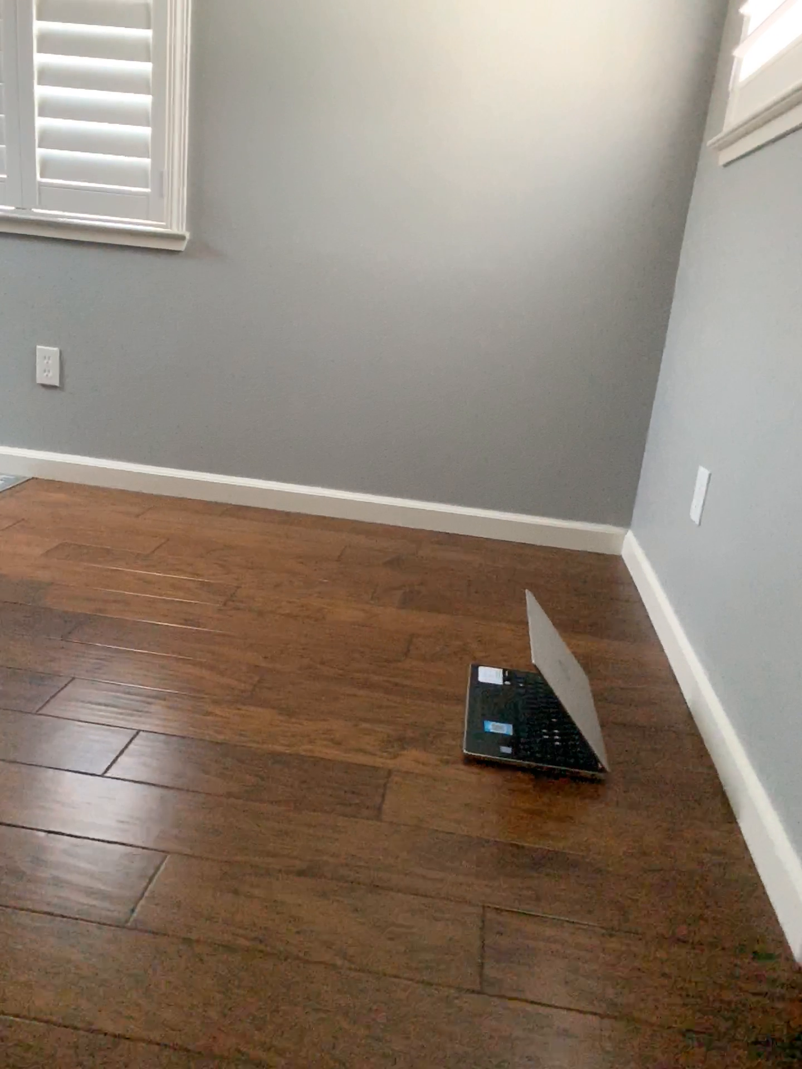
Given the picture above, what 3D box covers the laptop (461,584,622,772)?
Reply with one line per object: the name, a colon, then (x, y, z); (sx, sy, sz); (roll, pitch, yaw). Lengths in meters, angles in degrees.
laptop: (0.230, 0.229, 1.398); (0.219, 0.169, 0.318); (7, 16, 5)
